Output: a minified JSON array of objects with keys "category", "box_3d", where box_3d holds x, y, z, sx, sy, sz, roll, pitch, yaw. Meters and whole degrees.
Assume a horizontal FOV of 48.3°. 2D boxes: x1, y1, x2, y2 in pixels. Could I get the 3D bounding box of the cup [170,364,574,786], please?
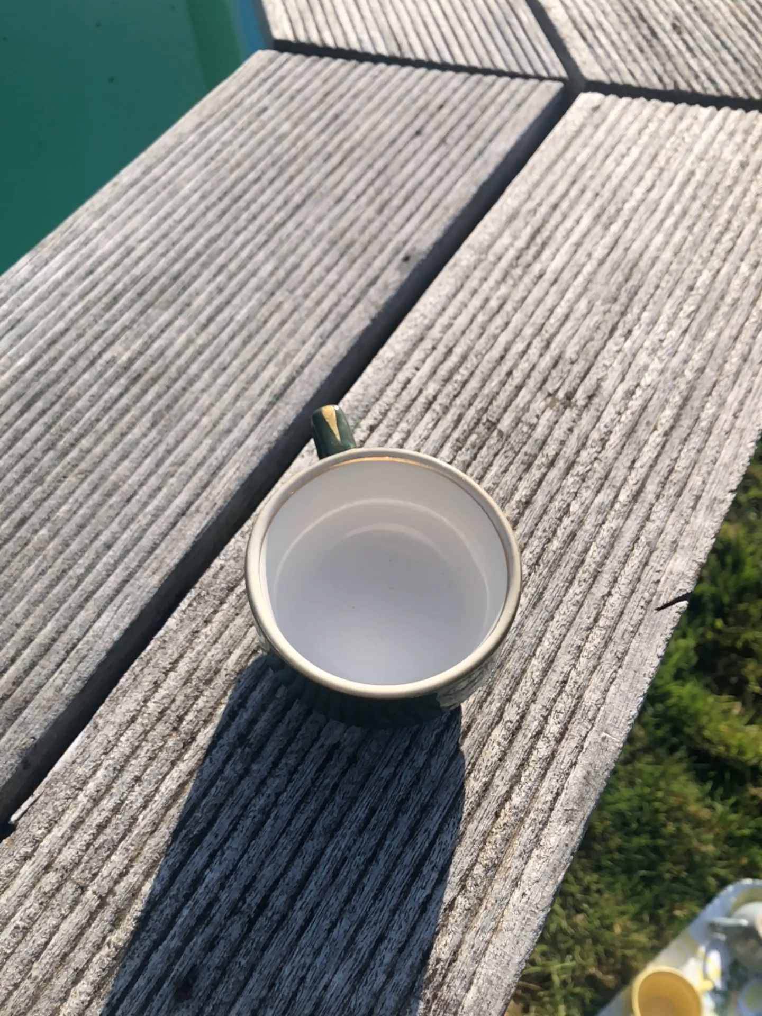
[{"category":"cup","box_3d":[-0.006,0.016,0.247,0.083,0.038,0.095,-17,62,-10]}]
